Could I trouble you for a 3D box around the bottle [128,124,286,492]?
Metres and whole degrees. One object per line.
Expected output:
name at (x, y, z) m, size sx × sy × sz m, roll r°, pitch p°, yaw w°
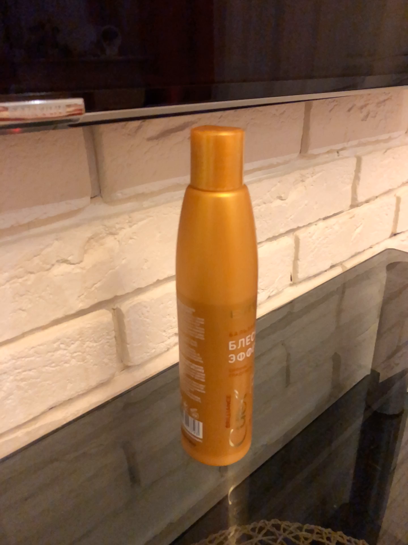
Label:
bottle at (0.003, 0.022, 0.261) m, size 0.060 × 0.199 × 0.050 m, roll 19°, pitch 31°, yaw 38°
